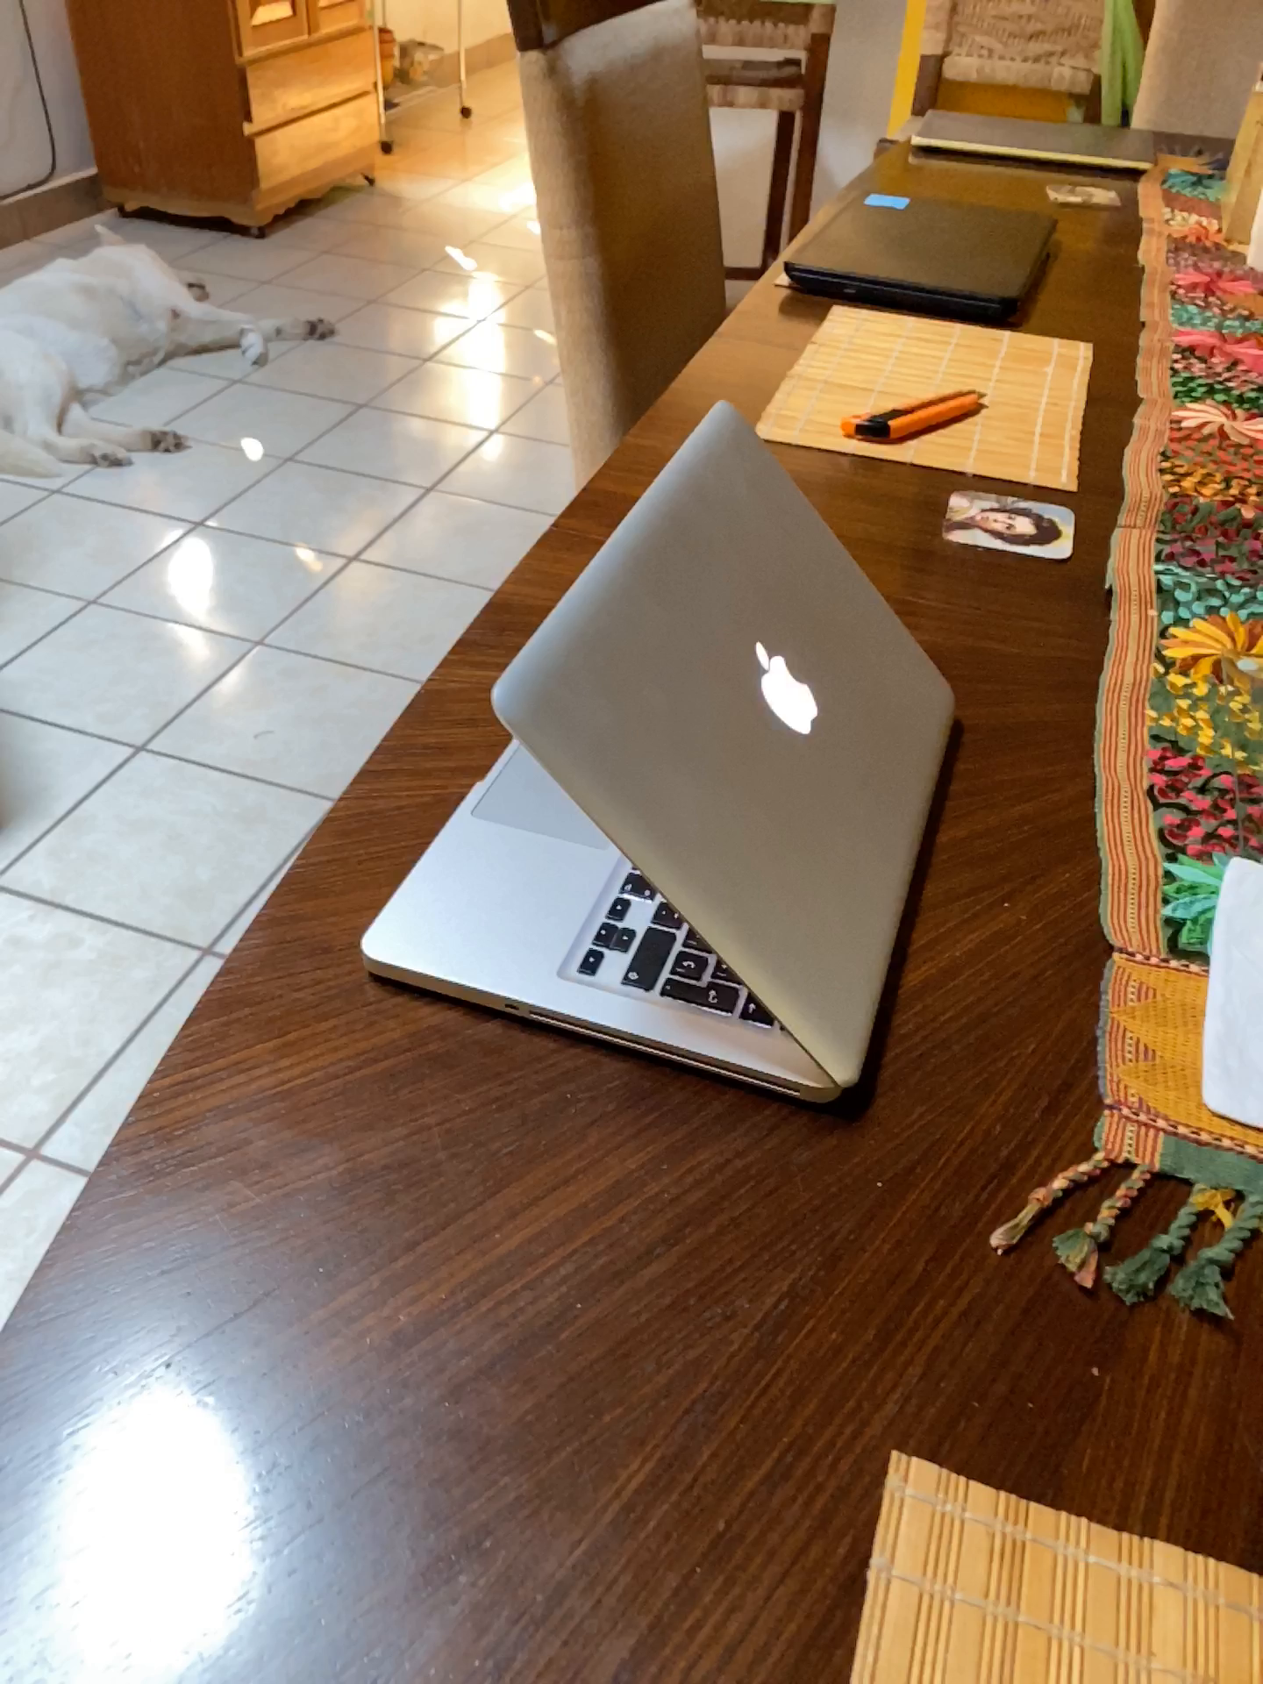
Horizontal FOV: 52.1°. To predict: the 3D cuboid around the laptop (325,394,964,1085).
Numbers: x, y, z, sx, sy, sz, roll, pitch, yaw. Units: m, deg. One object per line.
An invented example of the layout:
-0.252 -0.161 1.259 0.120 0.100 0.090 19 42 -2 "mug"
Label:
0.026 -0.076 0.645 0.212 0.152 0.323 14 41 12 "laptop"
